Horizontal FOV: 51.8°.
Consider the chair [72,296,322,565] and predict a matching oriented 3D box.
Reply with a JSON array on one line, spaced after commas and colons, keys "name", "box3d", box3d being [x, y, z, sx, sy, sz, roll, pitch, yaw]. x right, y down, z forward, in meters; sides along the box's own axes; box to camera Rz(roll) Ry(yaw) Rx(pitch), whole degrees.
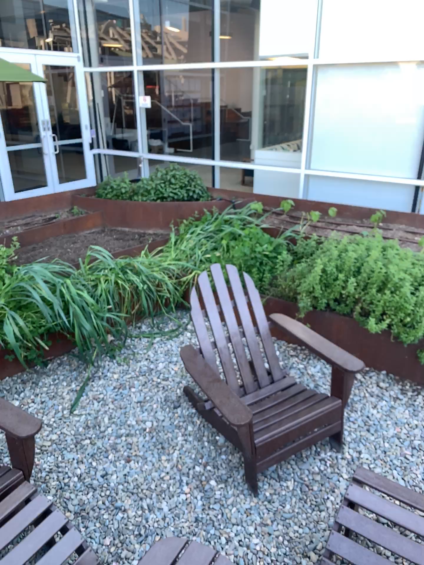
[{"name": "chair", "box3d": [-0.161, 0.795, 2.349, 1.000, 0.995, 1.005, -7, 24, -16]}]
